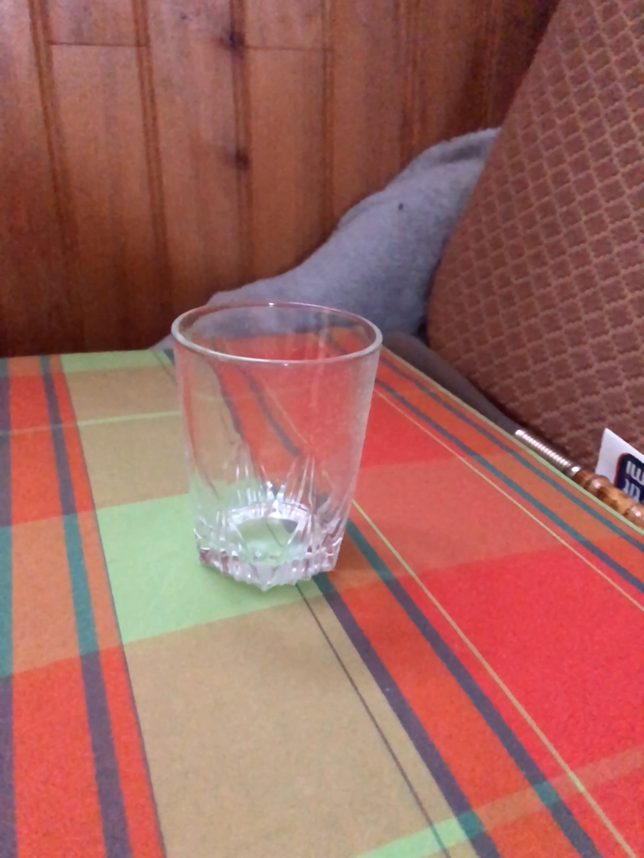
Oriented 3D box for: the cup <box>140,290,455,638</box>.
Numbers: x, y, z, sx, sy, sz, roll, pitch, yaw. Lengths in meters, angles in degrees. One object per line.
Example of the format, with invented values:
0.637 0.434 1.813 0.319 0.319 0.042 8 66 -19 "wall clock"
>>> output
-0.008 0.005 0.241 0.070 0.080 0.070 0 24 0 "cup"
